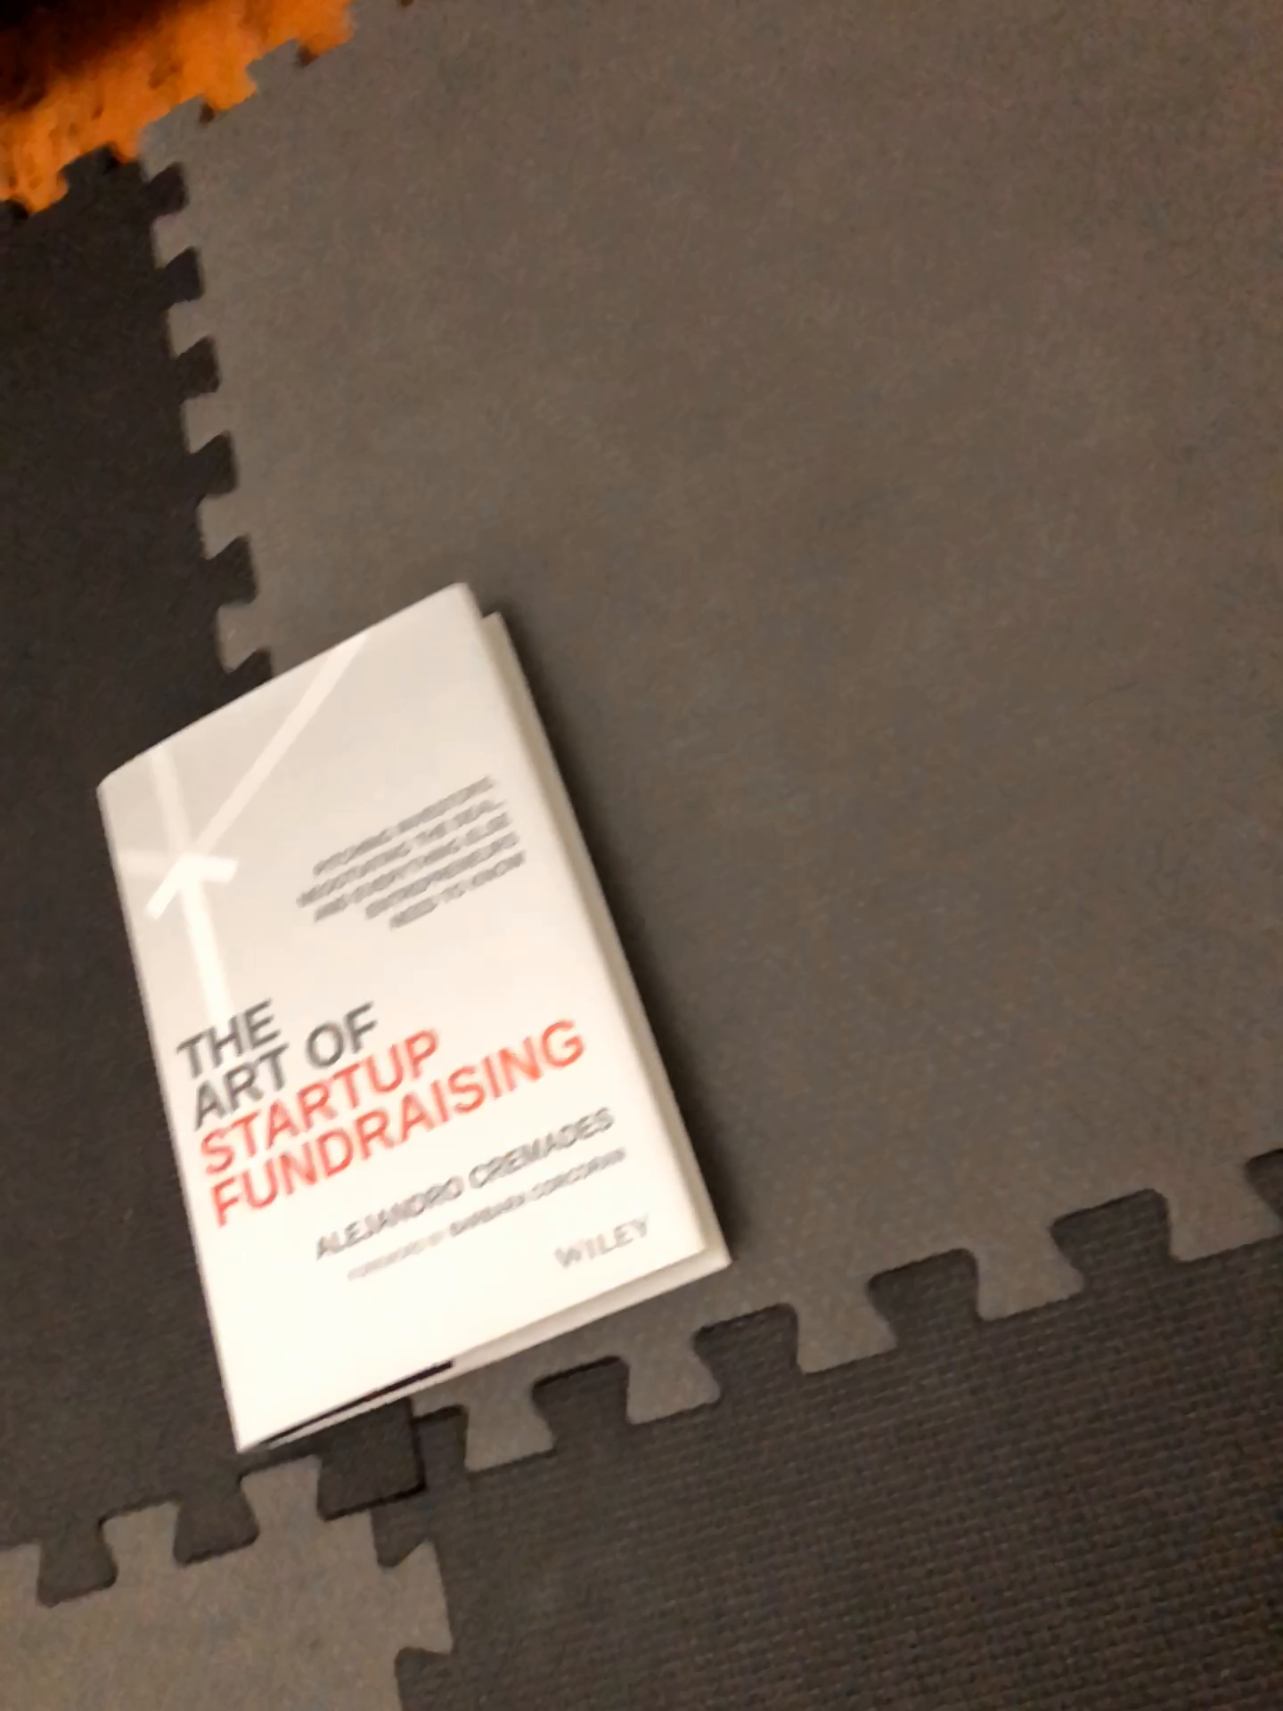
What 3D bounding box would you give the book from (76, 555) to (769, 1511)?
[{"bbox_3d":[-0.083,0.048,0.448,0.170,0.030,0.251,-25,65,12],"label":"book"}]
